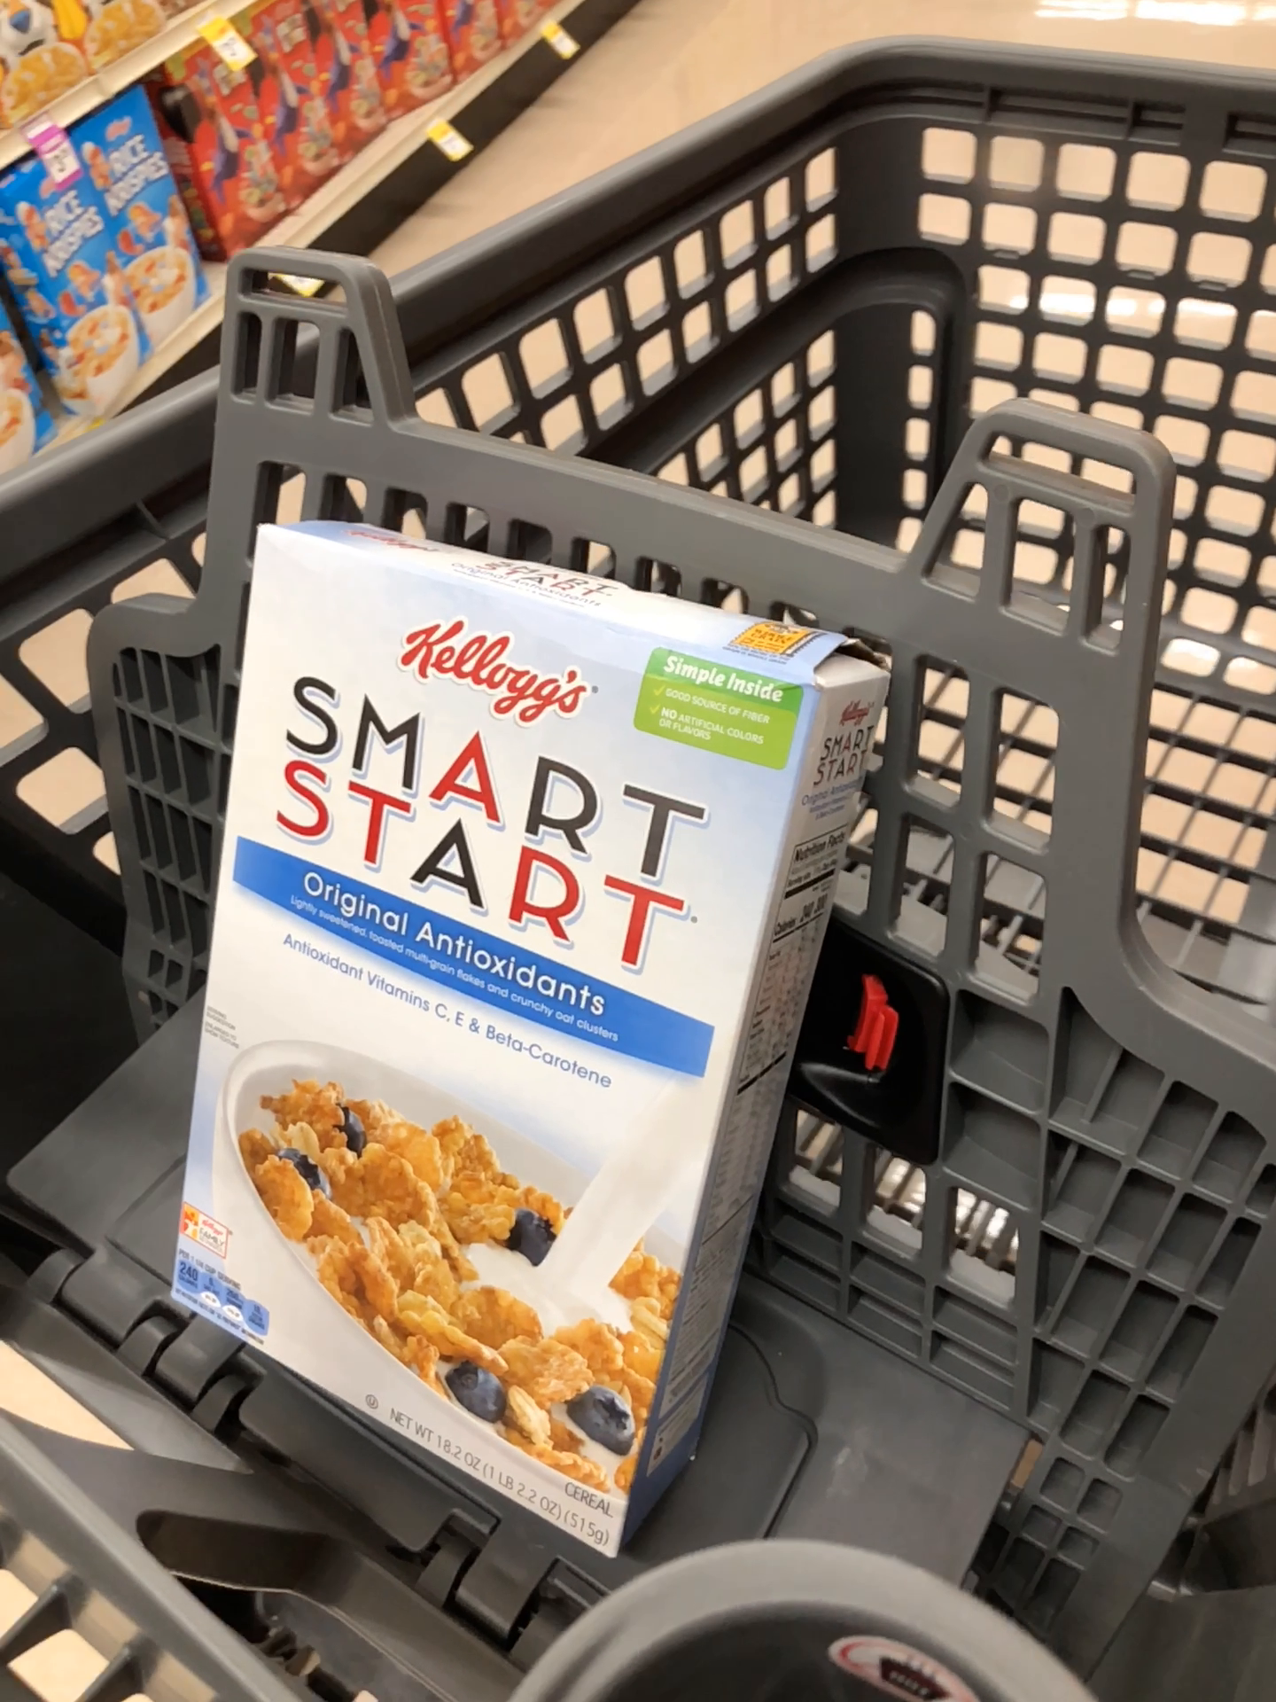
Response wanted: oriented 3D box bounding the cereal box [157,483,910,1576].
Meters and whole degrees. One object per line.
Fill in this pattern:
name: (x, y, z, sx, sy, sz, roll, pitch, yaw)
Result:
cereal box: (-0.050, 0.050, 0.469, 0.200, 0.300, 0.070, 20, 20, 25)
